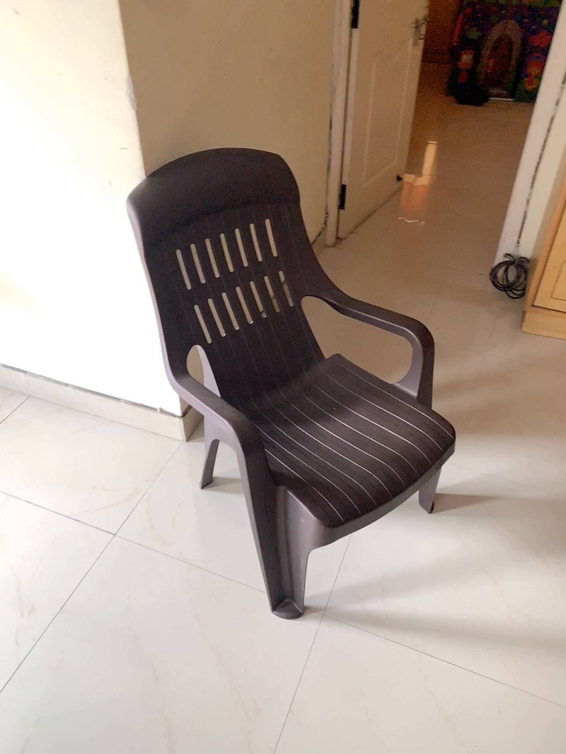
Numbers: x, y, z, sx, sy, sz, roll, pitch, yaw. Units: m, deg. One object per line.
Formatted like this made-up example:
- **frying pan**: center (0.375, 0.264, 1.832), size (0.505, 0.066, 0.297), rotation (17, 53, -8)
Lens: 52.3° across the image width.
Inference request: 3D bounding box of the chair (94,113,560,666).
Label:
- **chair**: center (0.060, 0.021, 1.422), size (0.602, 1.031, 0.664), rotation (-26, 46, -28)
